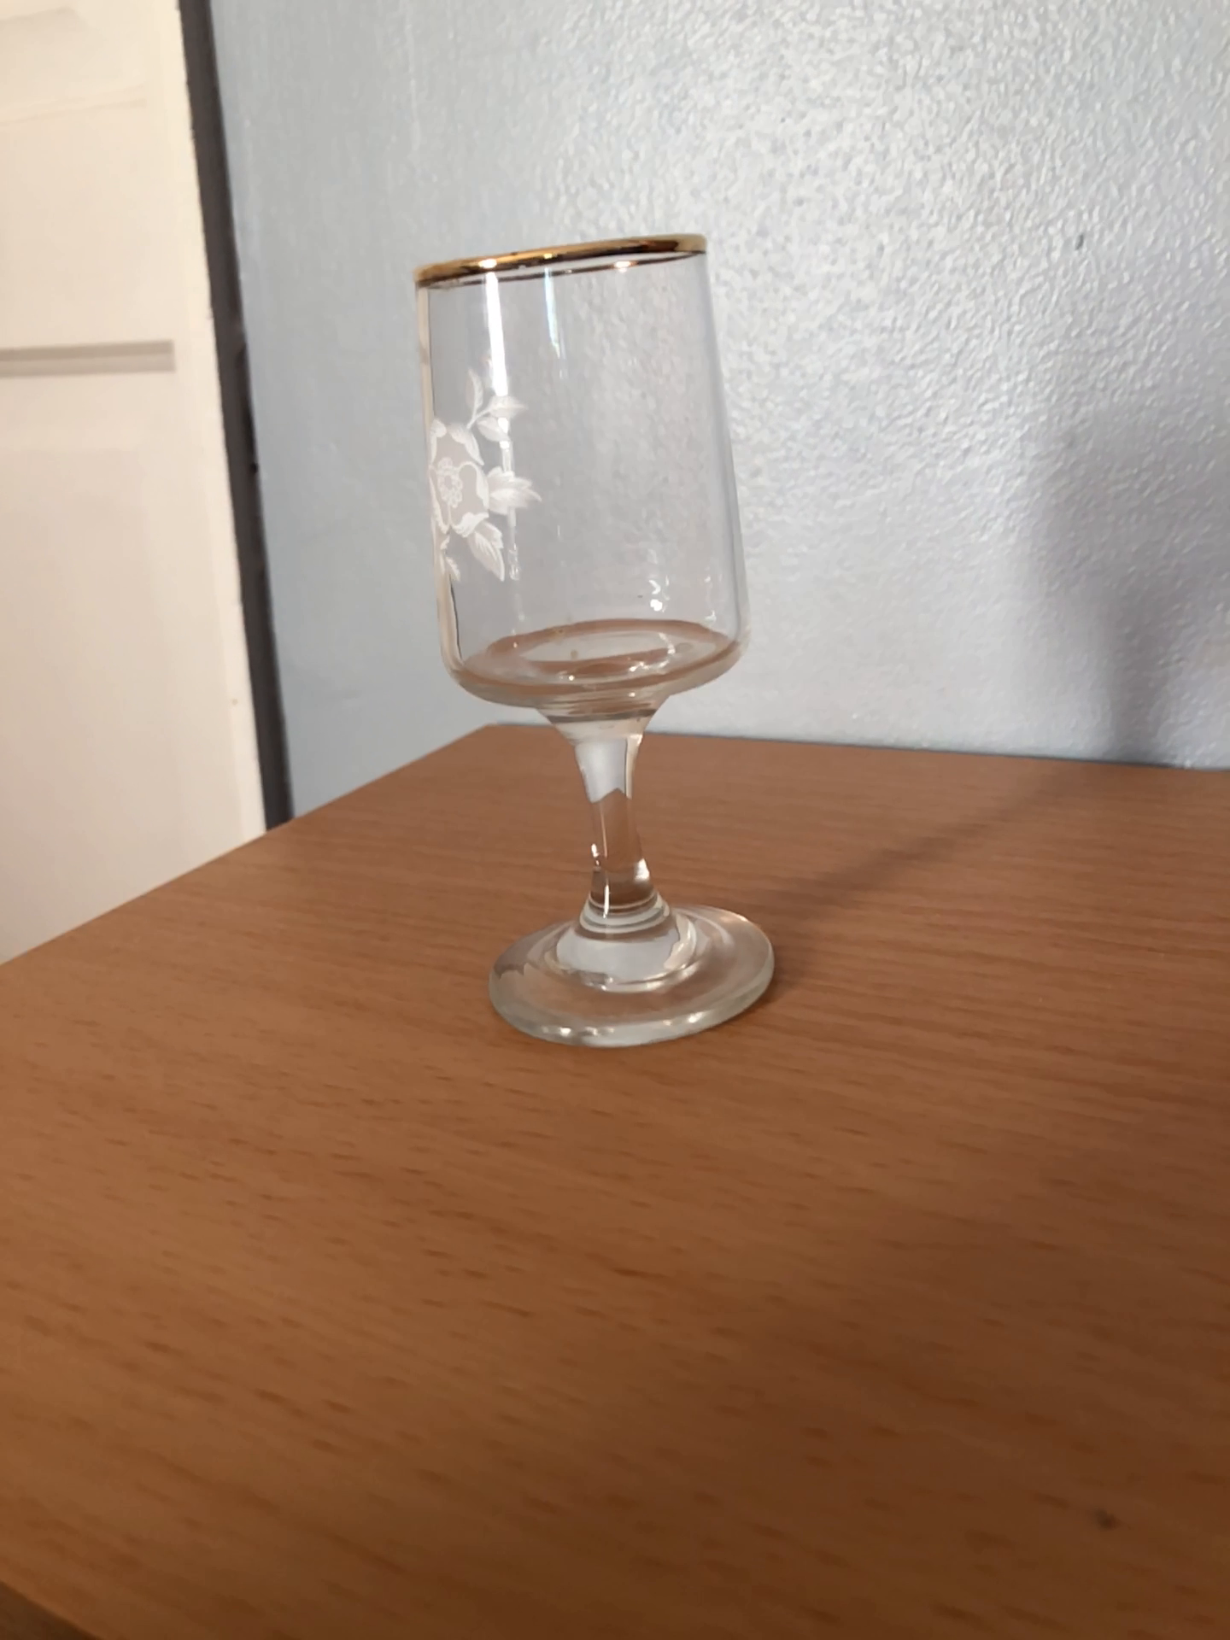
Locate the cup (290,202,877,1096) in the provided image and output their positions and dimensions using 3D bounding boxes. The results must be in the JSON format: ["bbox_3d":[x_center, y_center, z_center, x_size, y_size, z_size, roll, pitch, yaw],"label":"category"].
[{"bbox_3d":[-0.003,-0.027,0.200,0.056,0.108,0.052,-5,19,2],"label":"cup"}]
